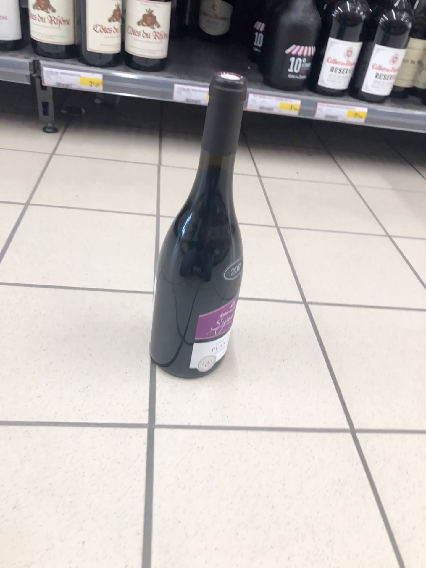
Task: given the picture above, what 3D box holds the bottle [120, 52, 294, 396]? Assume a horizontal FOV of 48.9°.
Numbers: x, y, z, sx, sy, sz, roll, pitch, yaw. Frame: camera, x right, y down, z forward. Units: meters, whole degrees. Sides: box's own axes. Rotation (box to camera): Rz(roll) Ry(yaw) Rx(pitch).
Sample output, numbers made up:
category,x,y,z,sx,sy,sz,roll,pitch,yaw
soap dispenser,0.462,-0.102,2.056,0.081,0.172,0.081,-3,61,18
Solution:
category,x,y,z,sx,sy,sz,roll,pitch,yaw
bottle,-0.017,-0.043,0.431,0.090,0.288,0.091,7,35,-5
